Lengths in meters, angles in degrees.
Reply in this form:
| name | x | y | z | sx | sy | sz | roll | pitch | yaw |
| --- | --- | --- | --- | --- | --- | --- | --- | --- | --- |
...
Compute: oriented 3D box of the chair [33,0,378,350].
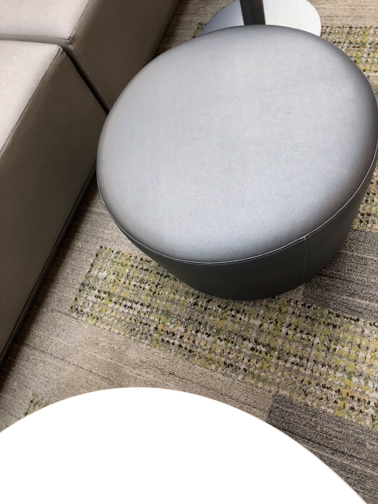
| name | x | y | z | sx | sy | sz | roll | pitch | yaw |
| --- | --- | --- | --- | --- | --- | --- | --- | --- | --- |
| chair | 0.122 | -0.200 | 1.012 | 0.571 | 0.459 | 0.620 | 18 | 74 | 23 |
